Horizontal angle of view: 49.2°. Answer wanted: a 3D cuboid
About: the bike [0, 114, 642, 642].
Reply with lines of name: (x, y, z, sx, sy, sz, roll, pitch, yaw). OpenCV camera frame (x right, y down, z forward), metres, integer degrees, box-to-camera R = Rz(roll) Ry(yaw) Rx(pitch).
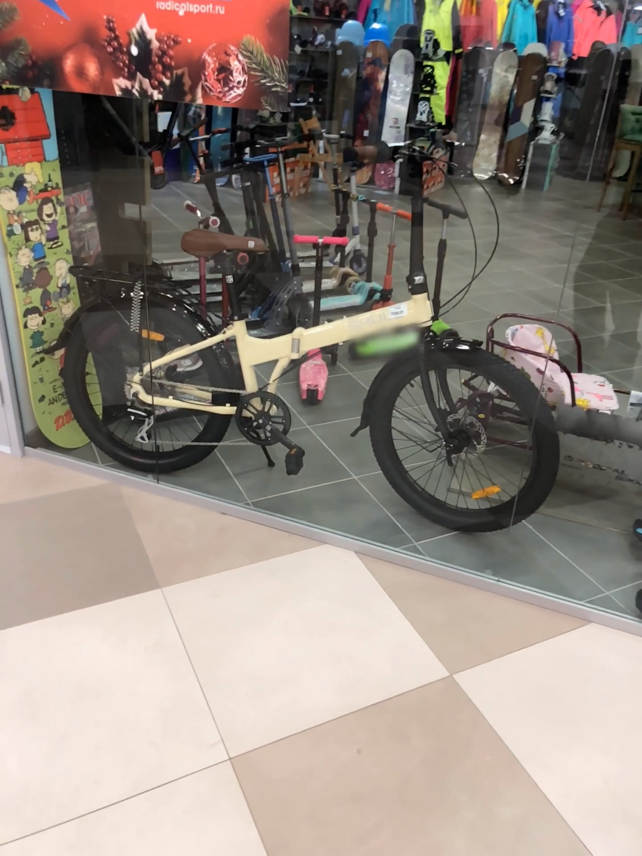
bike: (-0.100, -0.242, 2.175, 1.703, 1.175, 0.596, 11, 28, 14)
